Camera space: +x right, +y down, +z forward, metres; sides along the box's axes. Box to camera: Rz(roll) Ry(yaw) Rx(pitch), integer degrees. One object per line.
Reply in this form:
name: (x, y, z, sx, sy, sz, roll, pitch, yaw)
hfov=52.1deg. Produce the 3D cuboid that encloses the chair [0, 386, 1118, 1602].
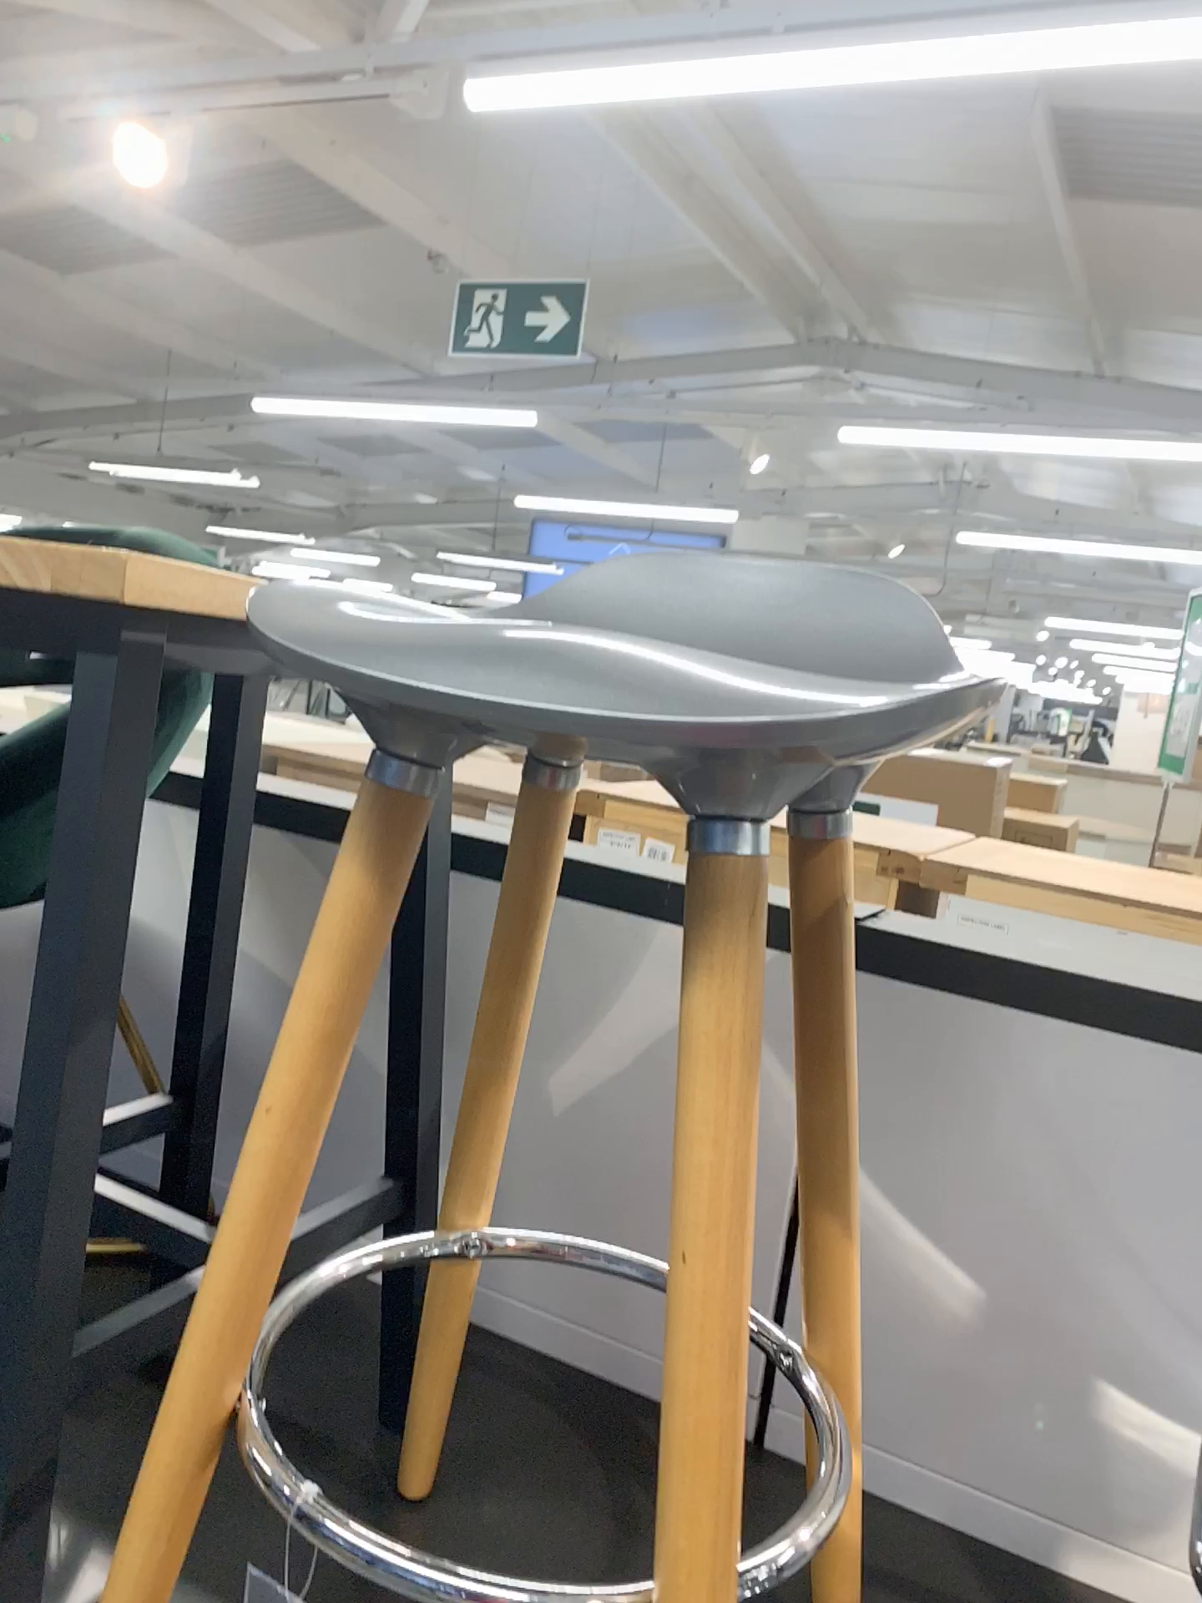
chair: (-0.012, 0.197, 0.728, 0.443, 0.739, 0.461, 11, 6, 26)

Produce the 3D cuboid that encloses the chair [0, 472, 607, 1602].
chair: (-0.348, 0.165, 0.927, 0.443, 0.689, 0.501, 11, 6, 24)
